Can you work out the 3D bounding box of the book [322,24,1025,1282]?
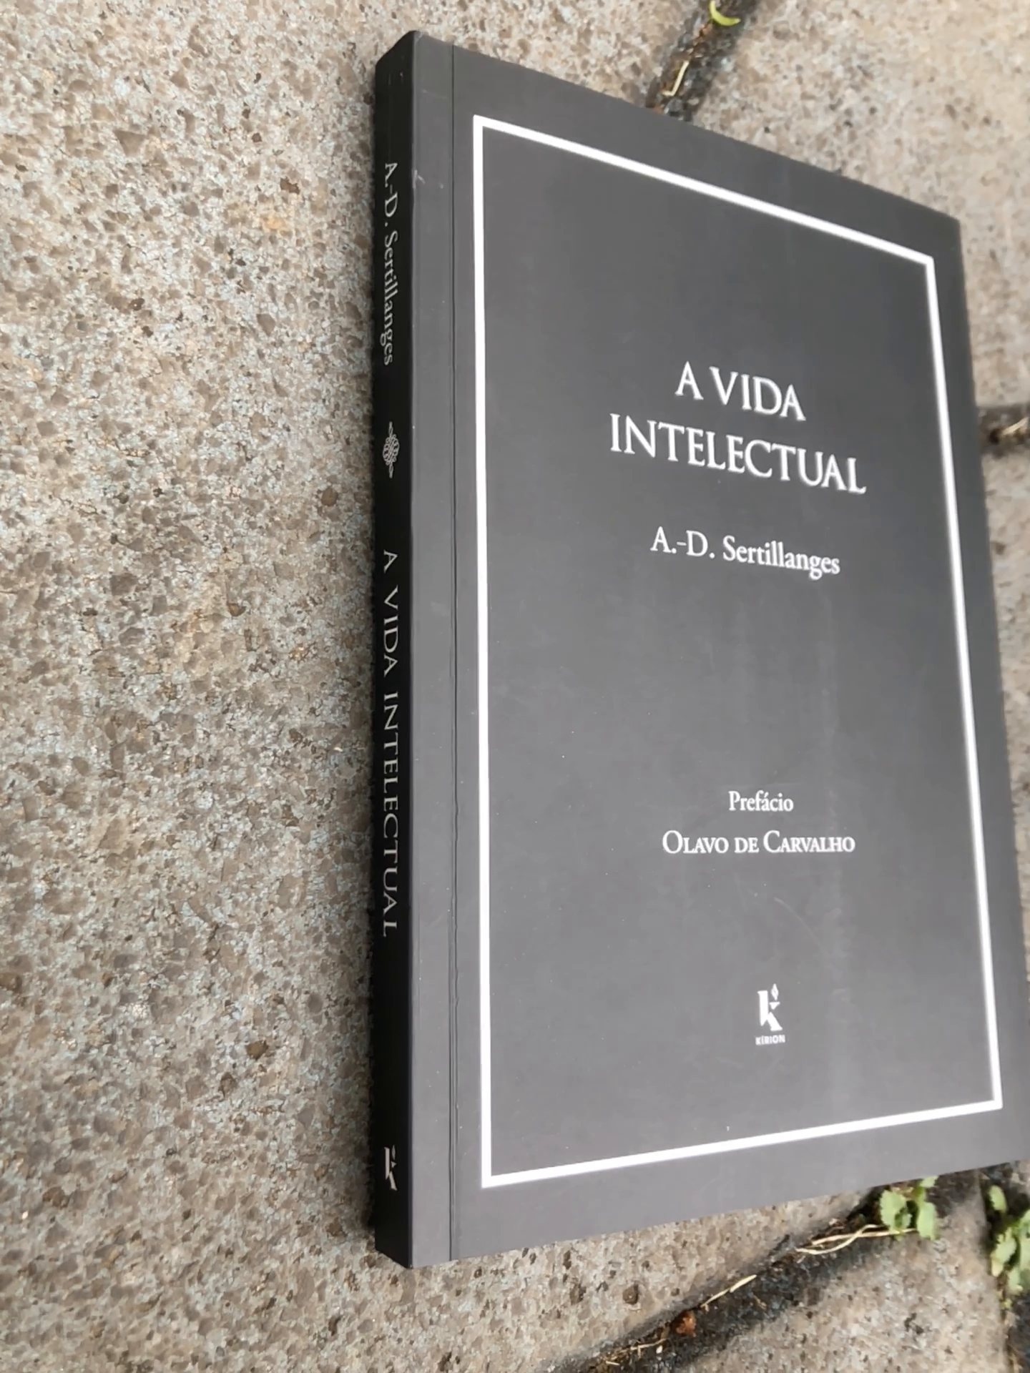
[{"bbox_3d":[0.034,-0.008,0.217,0.137,0.020,0.196,4,81,-27],"label":"book"}]
